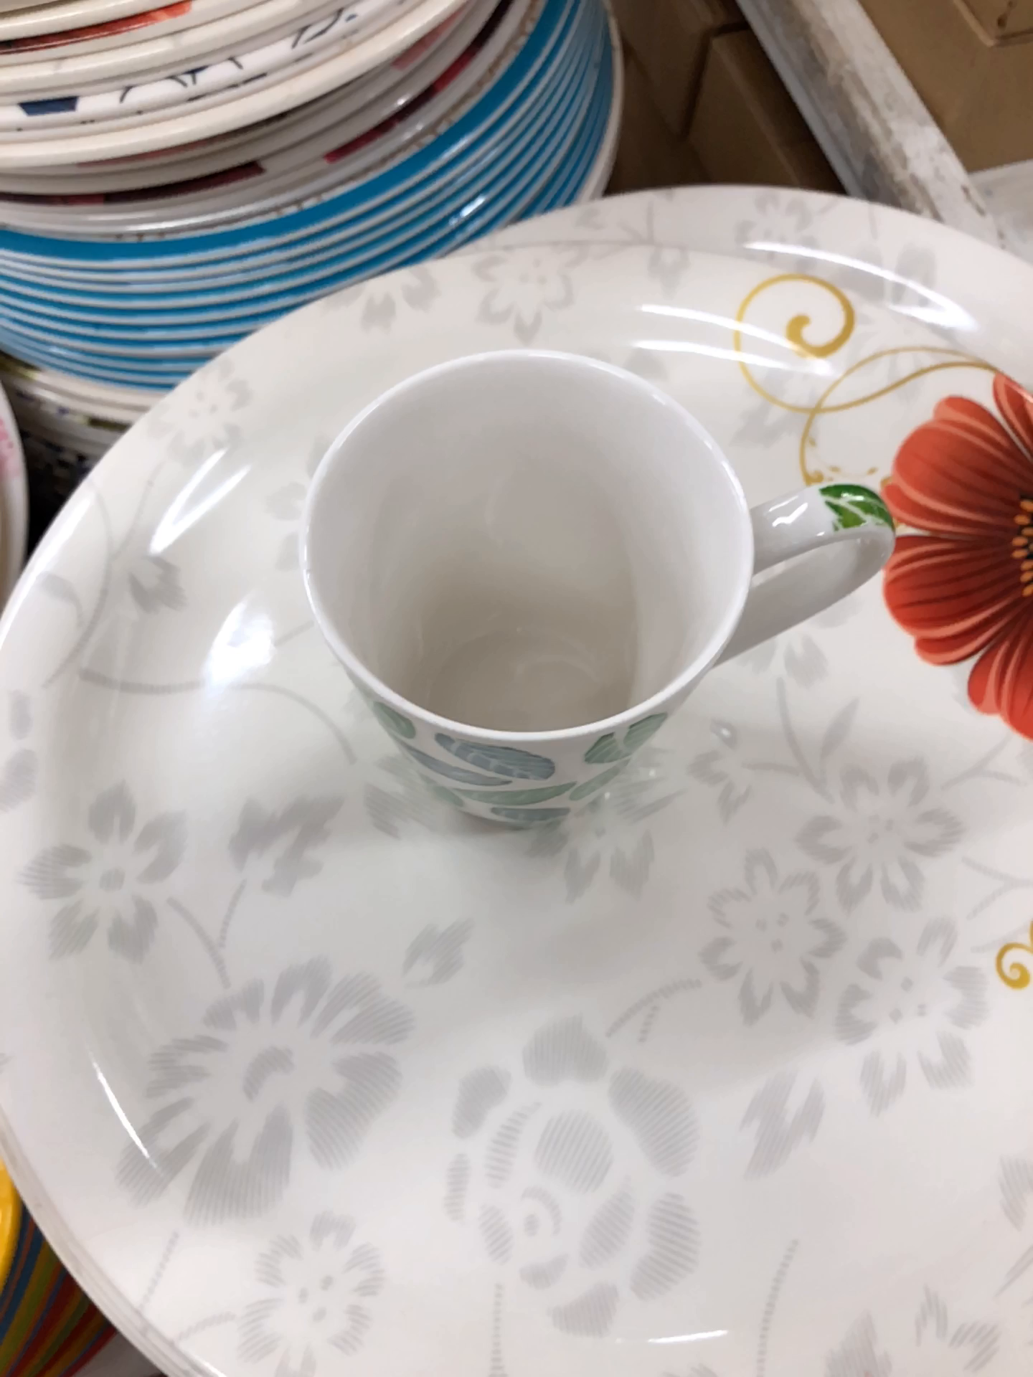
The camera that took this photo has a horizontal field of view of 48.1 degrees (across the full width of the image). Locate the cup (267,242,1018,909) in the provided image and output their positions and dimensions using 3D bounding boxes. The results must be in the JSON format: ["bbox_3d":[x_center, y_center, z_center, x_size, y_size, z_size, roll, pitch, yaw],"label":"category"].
[{"bbox_3d":[0.021,-0.017,0.273,0.120,0.120,0.080,-18,70,-9],"label":"cup"}]
